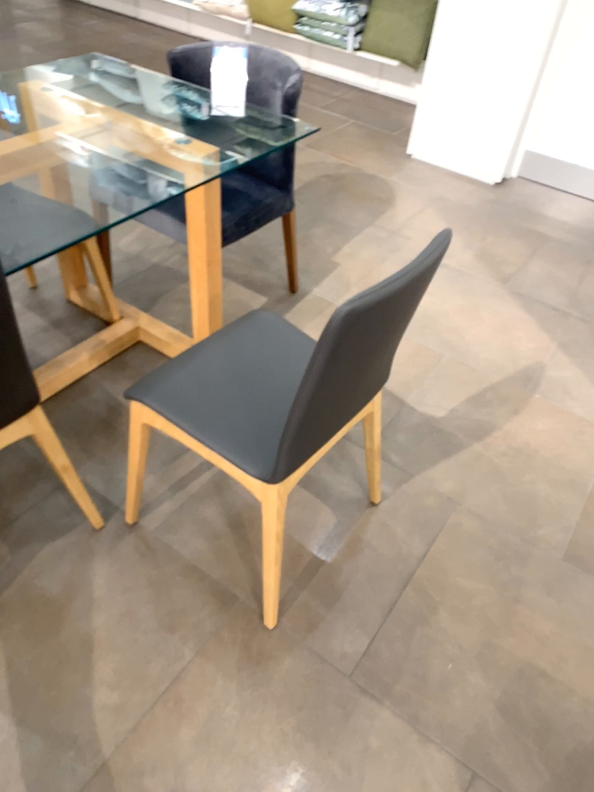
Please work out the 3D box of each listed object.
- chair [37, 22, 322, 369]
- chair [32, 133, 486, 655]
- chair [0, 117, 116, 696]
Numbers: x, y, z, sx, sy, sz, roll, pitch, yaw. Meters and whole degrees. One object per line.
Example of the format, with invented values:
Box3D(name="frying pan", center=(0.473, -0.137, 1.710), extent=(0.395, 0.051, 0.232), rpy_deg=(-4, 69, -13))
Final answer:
Box3D(name="chair", center=(-0.338, -0.660, 1.962), extent=(0.543, 0.813, 0.591), rpy_deg=(24, 46, 18))
Box3D(name="chair", center=(-0.072, -0.007, 1.296), extent=(0.538, 0.813, 0.566), rpy_deg=(30, 48, 23))
Box3D(name="chair", center=(-0.769, 0.031, 1.142), extent=(0.497, 0.833, 0.526), rpy_deg=(28, 47, 21))
